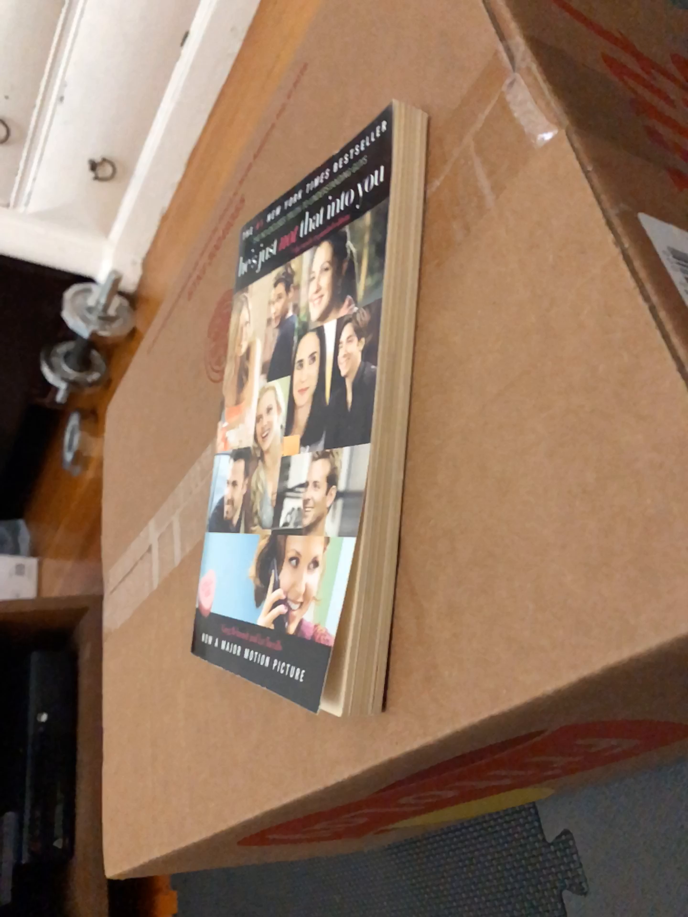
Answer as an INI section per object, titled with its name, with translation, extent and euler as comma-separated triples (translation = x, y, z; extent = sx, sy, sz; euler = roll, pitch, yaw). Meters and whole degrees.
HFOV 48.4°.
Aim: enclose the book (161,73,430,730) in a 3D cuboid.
[book]
translation = -0.028, -0.016, 0.311
extent = 0.161, 0.020, 0.210
euler = -11, 72, 58
